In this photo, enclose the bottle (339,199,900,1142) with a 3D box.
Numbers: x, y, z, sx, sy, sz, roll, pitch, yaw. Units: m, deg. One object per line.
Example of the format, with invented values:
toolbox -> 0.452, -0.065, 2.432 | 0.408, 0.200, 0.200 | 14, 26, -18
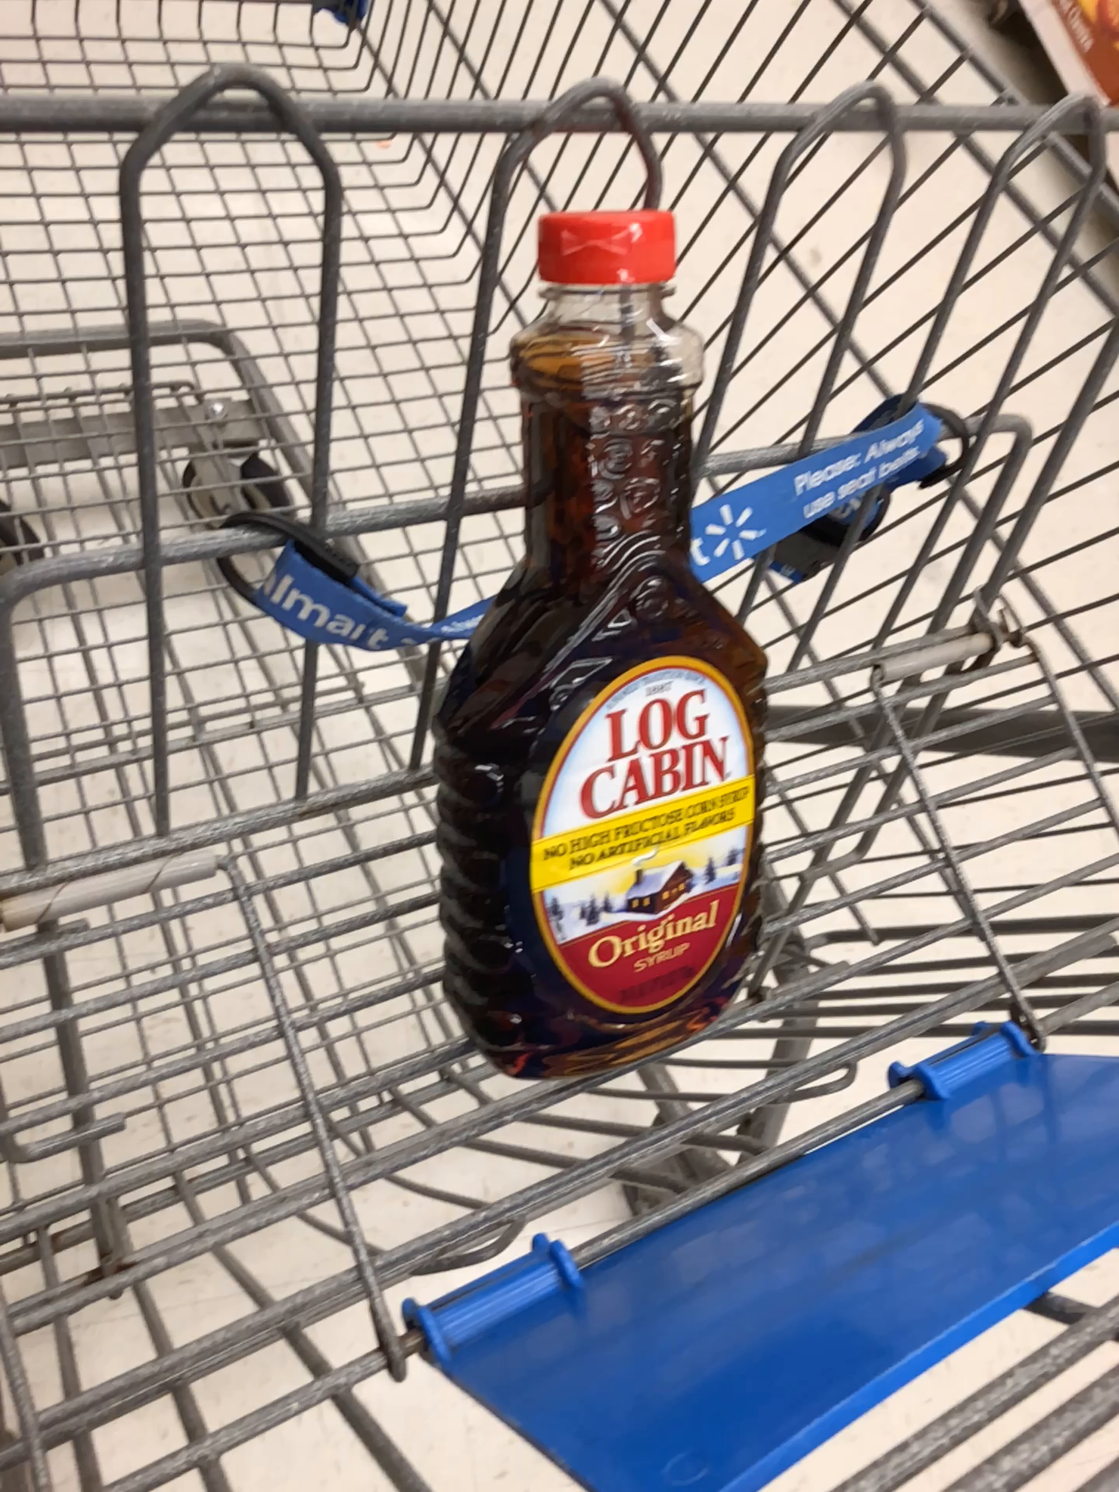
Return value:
bottle -> 0.016, -0.019, 0.349 | 0.120, 0.240, 0.060 | -16, 32, -28
